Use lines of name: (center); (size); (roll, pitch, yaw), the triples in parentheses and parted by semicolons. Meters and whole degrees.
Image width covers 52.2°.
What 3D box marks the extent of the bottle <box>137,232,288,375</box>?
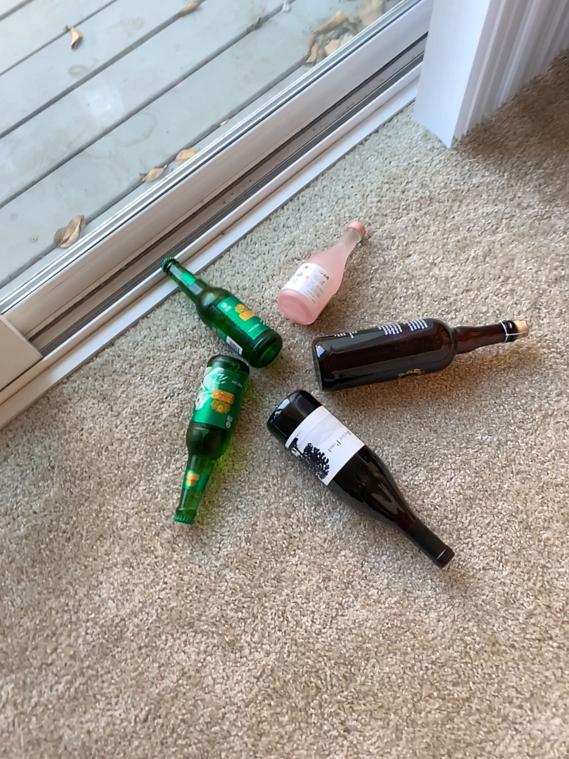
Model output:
bottle: (-0.104, -0.111, 0.844); (0.230, 0.080, 0.060); (38, 76, 17)

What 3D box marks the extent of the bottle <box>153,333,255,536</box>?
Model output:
bottle: (-0.098, 0.071, 0.754); (0.060, 0.090, 0.240); (9, 69, 7)

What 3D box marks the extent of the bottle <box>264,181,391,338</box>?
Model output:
bottle: (0.063, -0.171, 0.832); (0.070, 0.090, 0.200); (34, 74, 16)

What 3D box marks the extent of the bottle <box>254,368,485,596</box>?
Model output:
bottle: (0.094, 0.124, 0.716); (0.070, 0.090, 0.301); (-42, 71, -12)

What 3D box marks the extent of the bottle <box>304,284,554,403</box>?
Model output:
bottle: (0.187, -0.046, 0.790); (0.310, 0.090, 0.070); (-11, 68, -1)
